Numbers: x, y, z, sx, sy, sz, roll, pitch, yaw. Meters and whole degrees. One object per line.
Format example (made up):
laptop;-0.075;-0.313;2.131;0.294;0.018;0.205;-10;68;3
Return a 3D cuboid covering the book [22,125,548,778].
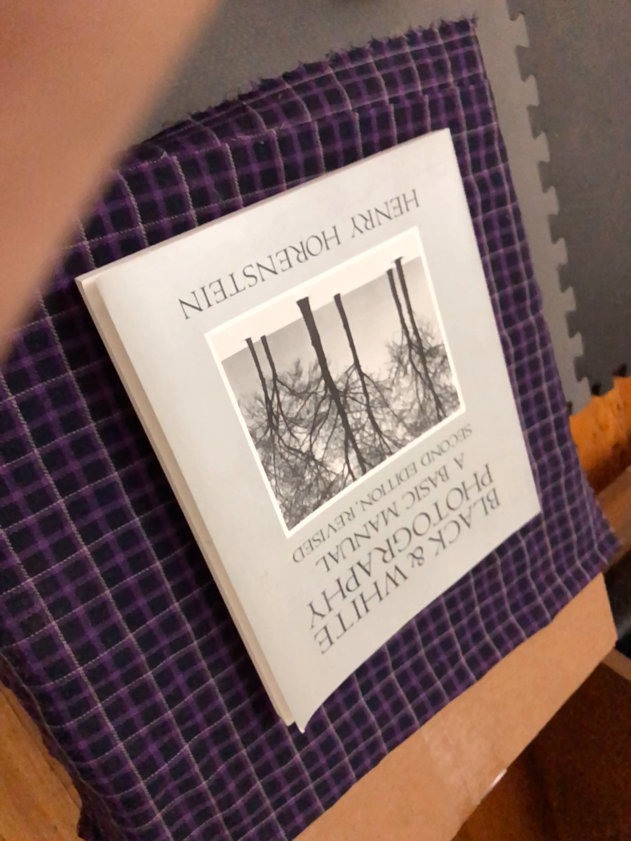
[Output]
book;0.015;0.012;0.353;0.211;0.030;0.250;-32;114;-27
